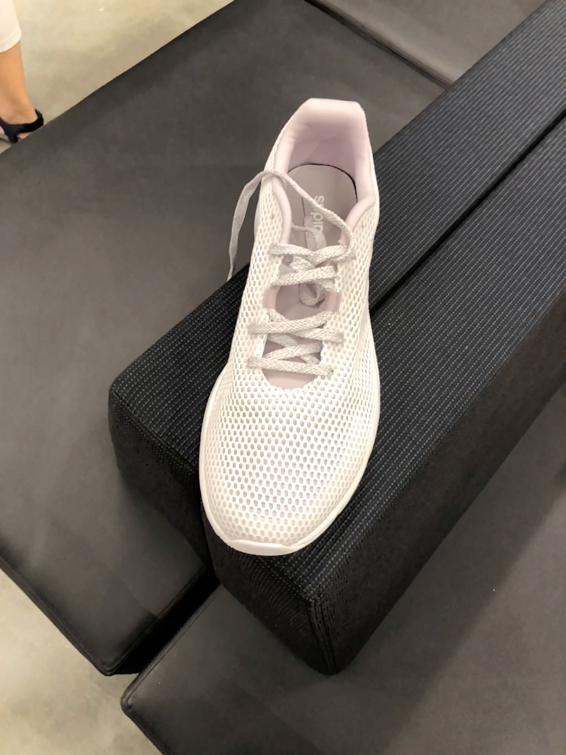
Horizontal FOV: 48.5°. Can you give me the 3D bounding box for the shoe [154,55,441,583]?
[{"bbox_3d":[0.017,-0.034,0.389,0.120,0.140,0.280,7,65,0],"label":"shoe"}]
